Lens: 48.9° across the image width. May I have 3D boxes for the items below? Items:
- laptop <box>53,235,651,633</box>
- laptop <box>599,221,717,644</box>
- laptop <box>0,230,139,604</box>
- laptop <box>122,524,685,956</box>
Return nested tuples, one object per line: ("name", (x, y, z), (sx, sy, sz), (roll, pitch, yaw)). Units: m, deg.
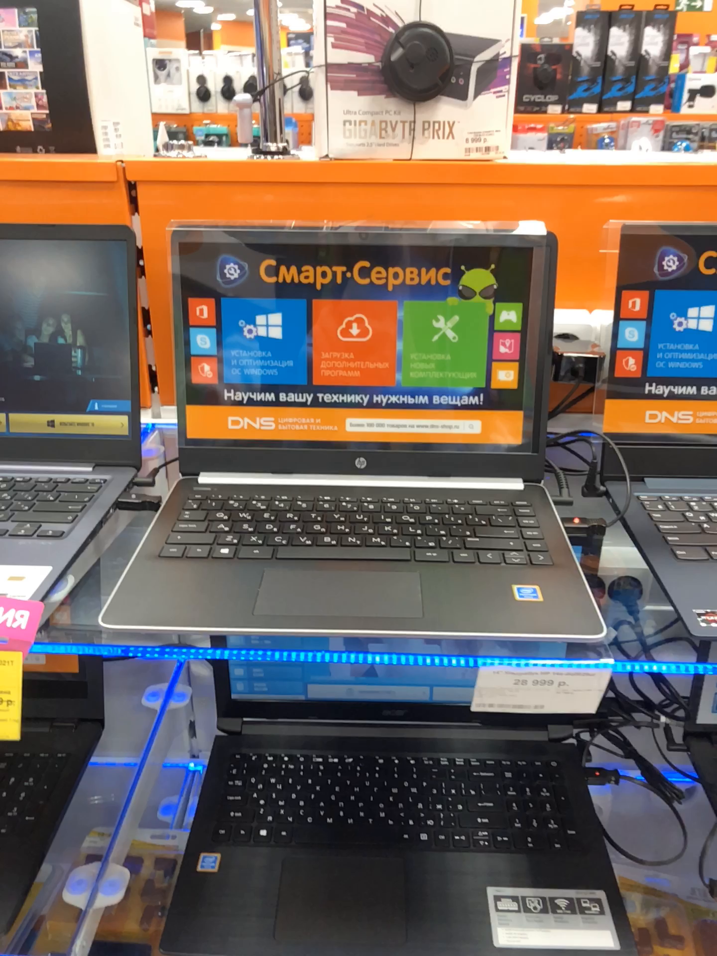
("laptop", (0.001, -0.053, 0.574), (0.313, 0.197, 0.268), (1, 25, 2))
("laptop", (0.354, -0.051, 0.549), (0.276, 0.205, 0.249), (0, 25, 4))
("laptop", (-0.365, -0.070, 0.607), (0.313, 0.199, 0.280), (1, 23, 1))
("laptop", (0.031, 0.208, 0.674), (0.362, 0.245, 0.252), (1, 25, 3))
